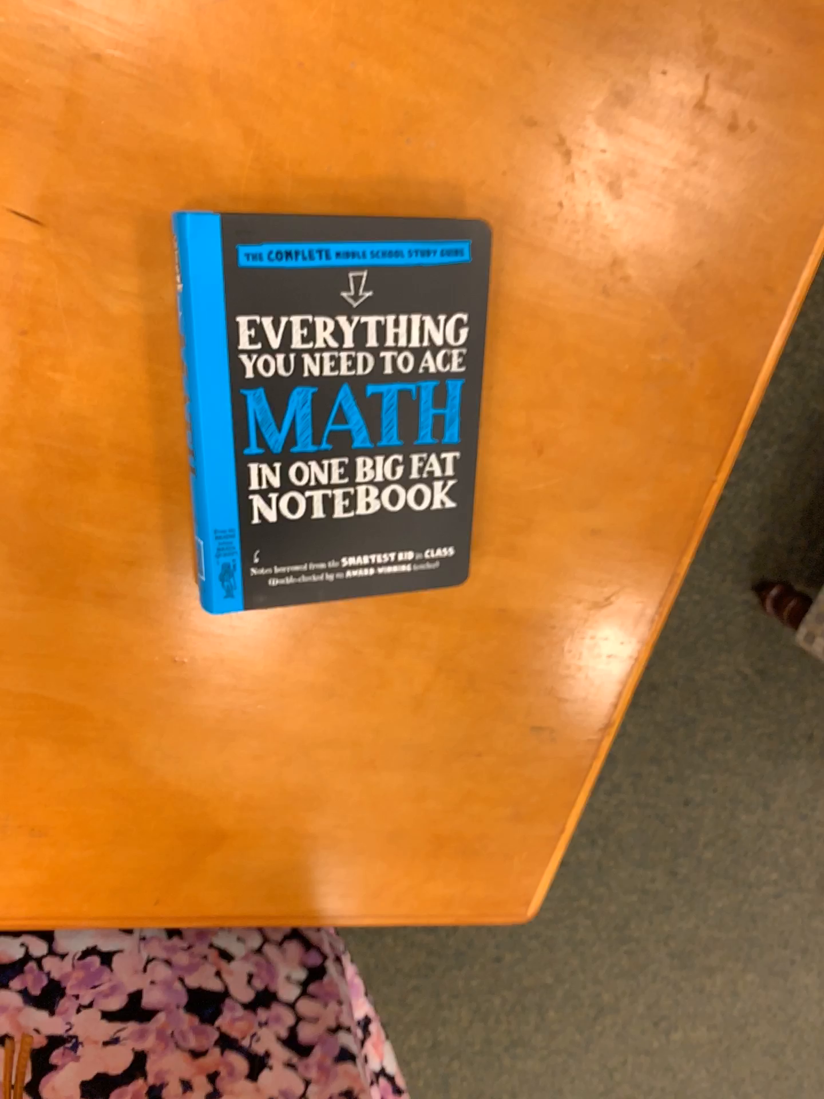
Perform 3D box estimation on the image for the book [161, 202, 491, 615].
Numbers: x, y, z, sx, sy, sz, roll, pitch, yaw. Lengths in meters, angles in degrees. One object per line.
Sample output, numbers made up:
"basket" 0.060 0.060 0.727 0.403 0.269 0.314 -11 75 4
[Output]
"book" -0.045 -0.075 0.470 0.160 0.040 0.211 -5 115 -16
